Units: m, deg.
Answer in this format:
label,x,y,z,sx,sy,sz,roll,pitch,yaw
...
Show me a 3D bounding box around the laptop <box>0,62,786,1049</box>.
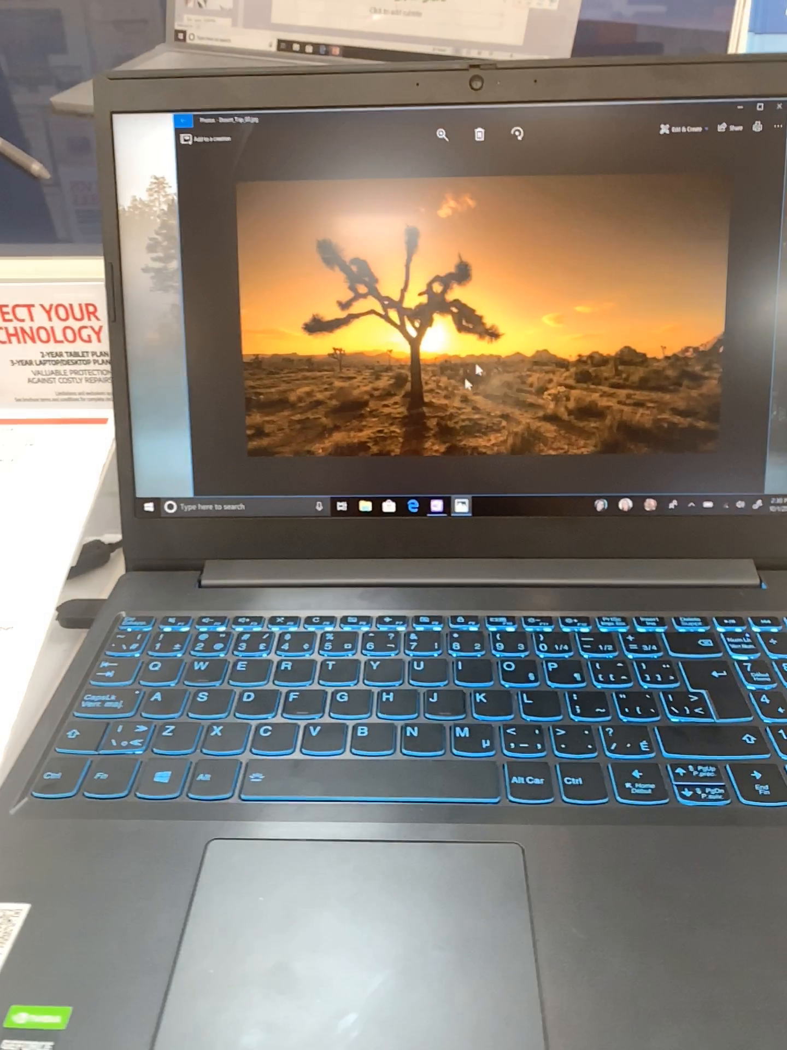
label,x,y,z,sx,sy,sz,roll,pitch,yaw
laptop,0.033,-0.030,0.284,0.340,0.214,0.330,0,31,1
